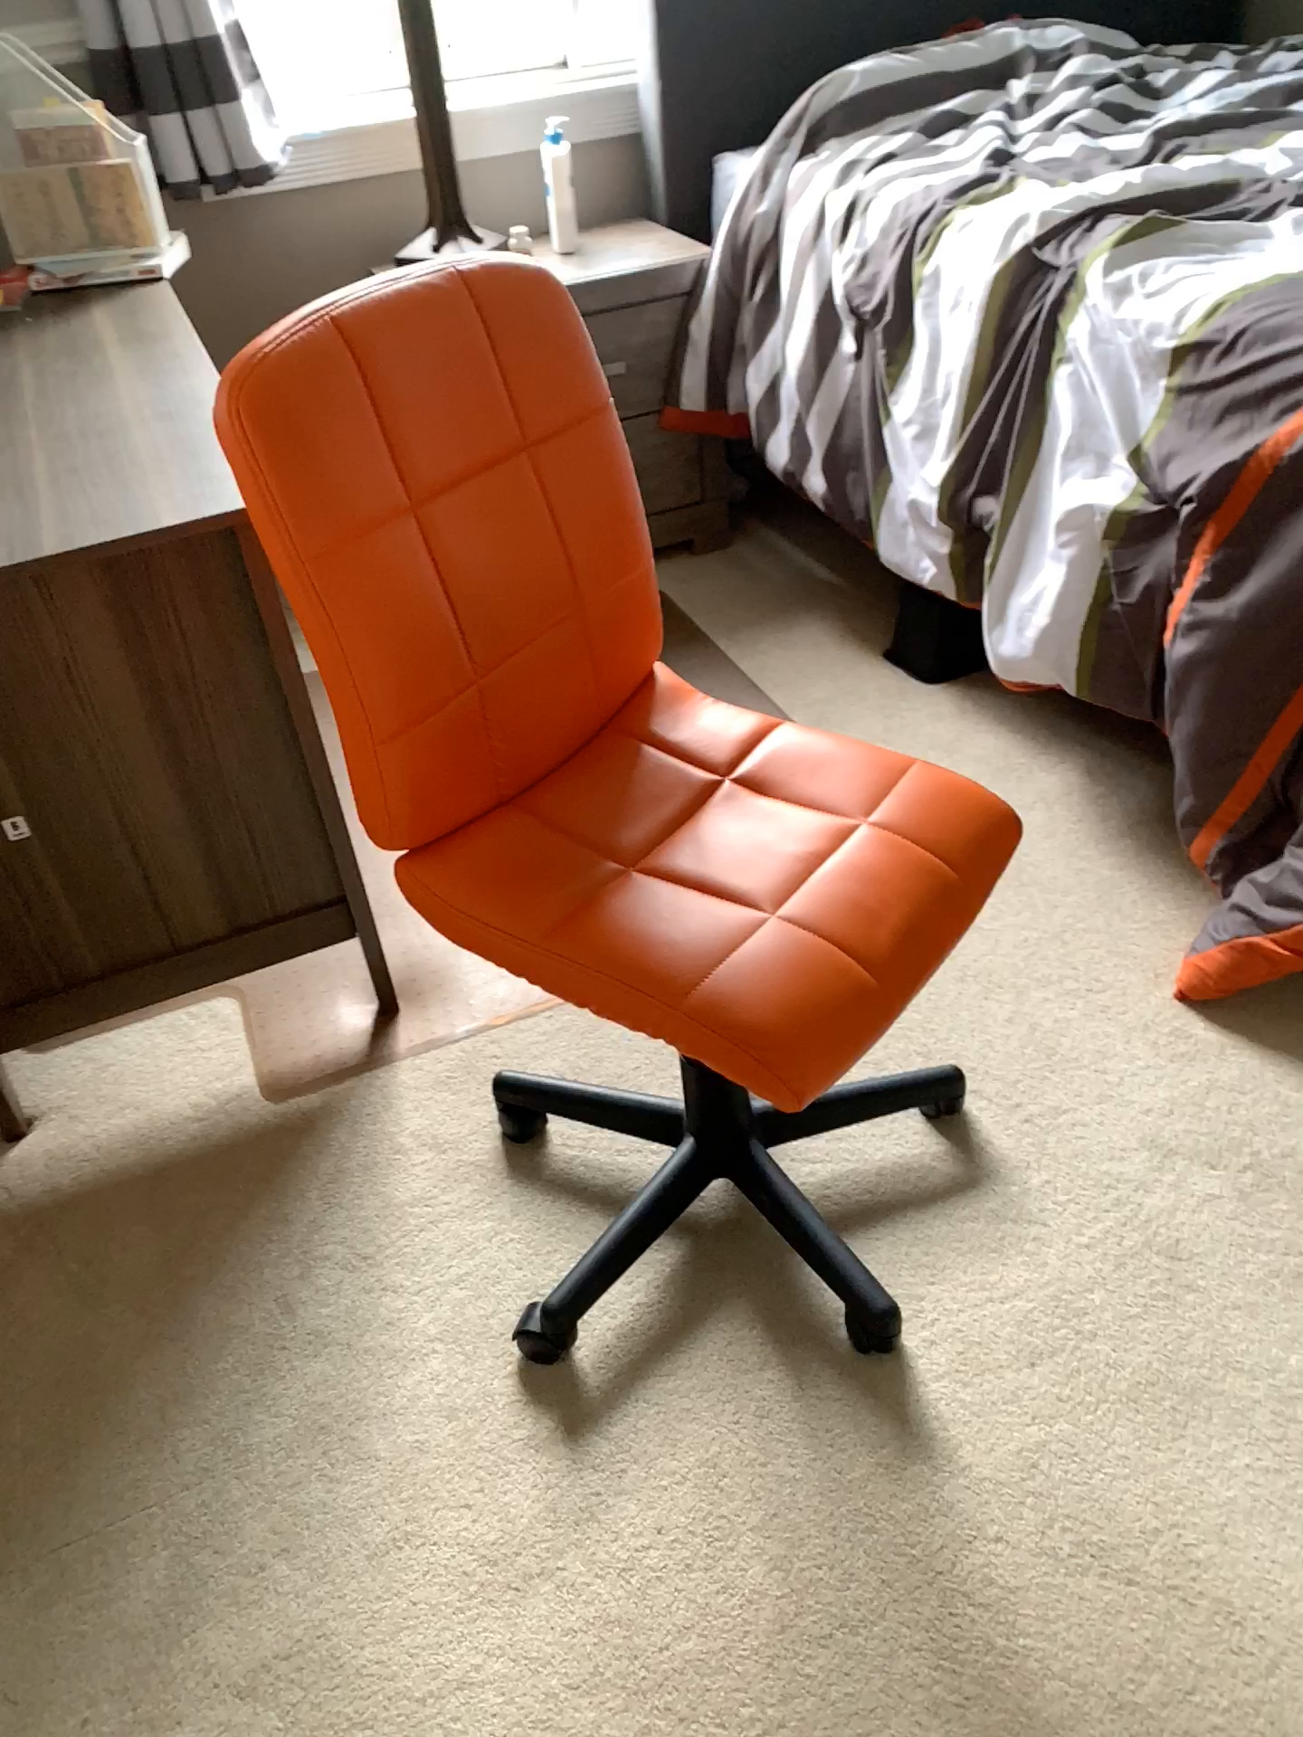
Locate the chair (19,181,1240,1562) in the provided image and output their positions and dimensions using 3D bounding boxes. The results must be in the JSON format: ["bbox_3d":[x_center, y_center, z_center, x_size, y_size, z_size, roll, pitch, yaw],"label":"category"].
[{"bbox_3d":[0.025,-0.031,1.181,0.600,0.904,0.596,24,46,33],"label":"chair"}]
